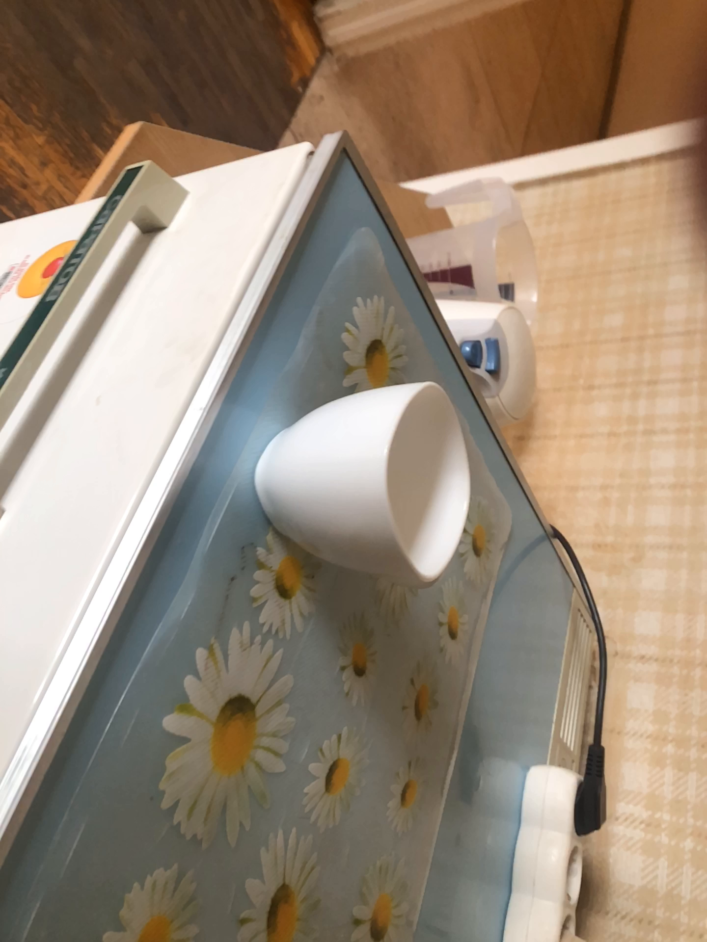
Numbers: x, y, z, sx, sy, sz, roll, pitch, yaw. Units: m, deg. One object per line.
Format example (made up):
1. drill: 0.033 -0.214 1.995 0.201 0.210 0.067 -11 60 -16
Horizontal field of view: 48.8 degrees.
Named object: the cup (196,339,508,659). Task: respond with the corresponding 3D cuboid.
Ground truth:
1. cup: 0.007 0.015 0.320 0.102 0.070 0.085 49 49 -47
